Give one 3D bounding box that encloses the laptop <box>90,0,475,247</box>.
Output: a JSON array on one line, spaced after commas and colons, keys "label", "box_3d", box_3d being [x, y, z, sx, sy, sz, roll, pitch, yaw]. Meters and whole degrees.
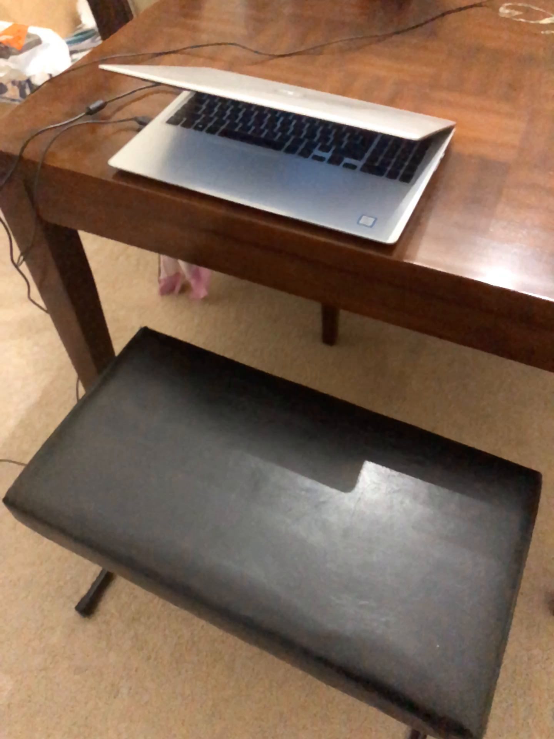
[{"label": "laptop", "box_3d": [0.011, -0.314, 0.728, 0.369, 0.103, 0.250, 20, 56, 17]}]
